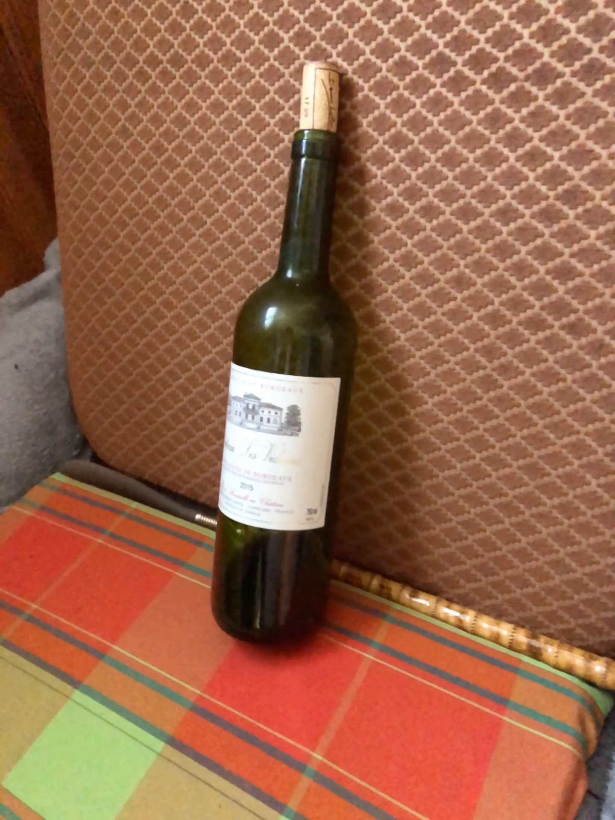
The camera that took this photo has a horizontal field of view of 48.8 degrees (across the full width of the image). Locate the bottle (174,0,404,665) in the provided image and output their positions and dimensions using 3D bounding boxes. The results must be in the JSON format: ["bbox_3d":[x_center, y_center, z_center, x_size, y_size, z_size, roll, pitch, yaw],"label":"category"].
[{"bbox_3d":[-0.015,-0.037,0.396,0.080,0.339,0.070,13,13,39],"label":"bottle"}]
